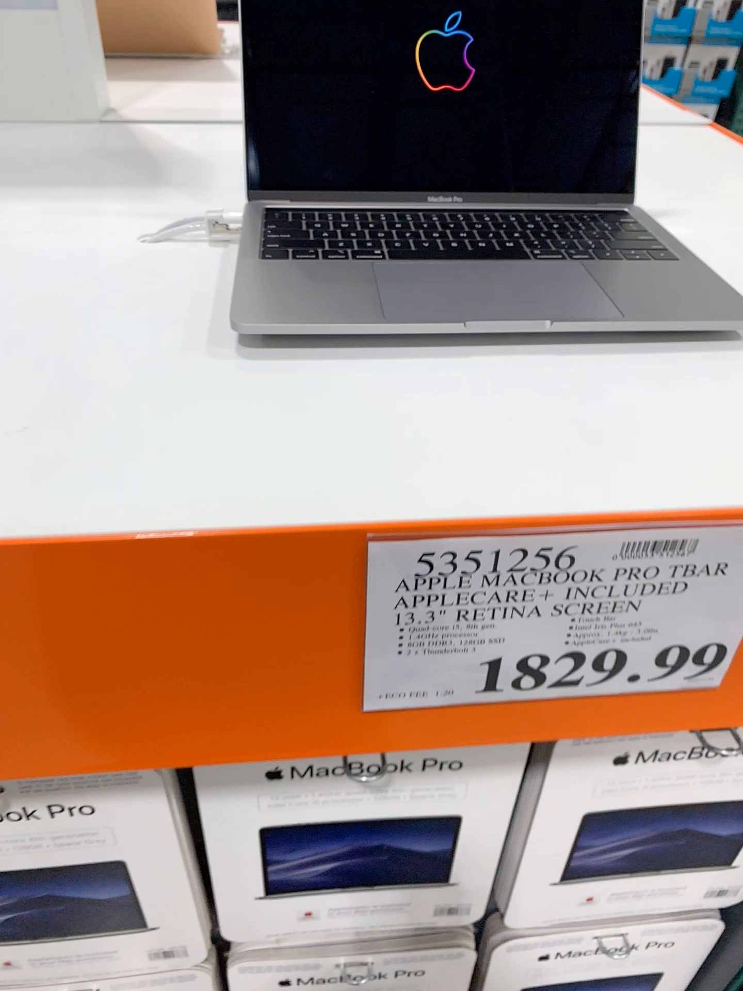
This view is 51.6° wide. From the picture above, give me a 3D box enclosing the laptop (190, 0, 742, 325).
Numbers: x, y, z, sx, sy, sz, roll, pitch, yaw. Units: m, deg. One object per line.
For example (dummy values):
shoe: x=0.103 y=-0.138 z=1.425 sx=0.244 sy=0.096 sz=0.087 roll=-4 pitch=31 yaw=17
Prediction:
laptop: x=0.061 y=-0.253 z=0.472 sx=0.289 sy=0.165 sz=0.308 roll=-2 pitch=39 yaw=-4
